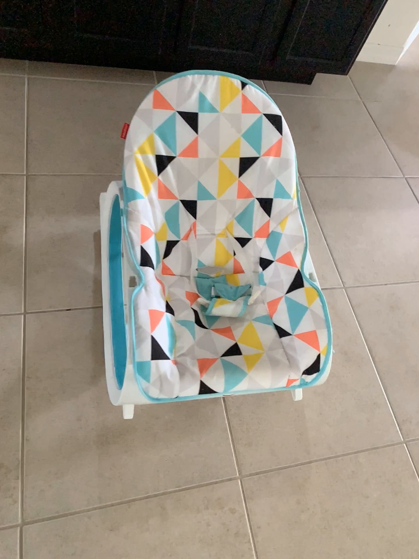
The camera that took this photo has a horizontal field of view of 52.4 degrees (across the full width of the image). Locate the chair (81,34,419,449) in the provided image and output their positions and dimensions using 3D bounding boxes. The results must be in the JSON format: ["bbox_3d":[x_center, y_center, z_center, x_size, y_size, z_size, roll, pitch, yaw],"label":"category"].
[{"bbox_3d":[0.009,-0.080,0.979,0.531,0.486,0.734,-4,62,-16],"label":"chair"}]
